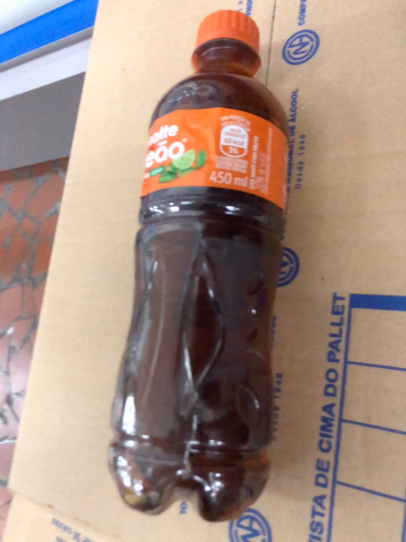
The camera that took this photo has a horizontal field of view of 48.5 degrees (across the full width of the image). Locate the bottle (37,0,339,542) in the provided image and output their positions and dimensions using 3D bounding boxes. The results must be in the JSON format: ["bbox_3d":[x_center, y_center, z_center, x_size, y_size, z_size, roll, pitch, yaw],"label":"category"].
[{"bbox_3d":[0.003,-0.009,0.179,0.070,0.060,0.220,1,78,31],"label":"bottle"}]
